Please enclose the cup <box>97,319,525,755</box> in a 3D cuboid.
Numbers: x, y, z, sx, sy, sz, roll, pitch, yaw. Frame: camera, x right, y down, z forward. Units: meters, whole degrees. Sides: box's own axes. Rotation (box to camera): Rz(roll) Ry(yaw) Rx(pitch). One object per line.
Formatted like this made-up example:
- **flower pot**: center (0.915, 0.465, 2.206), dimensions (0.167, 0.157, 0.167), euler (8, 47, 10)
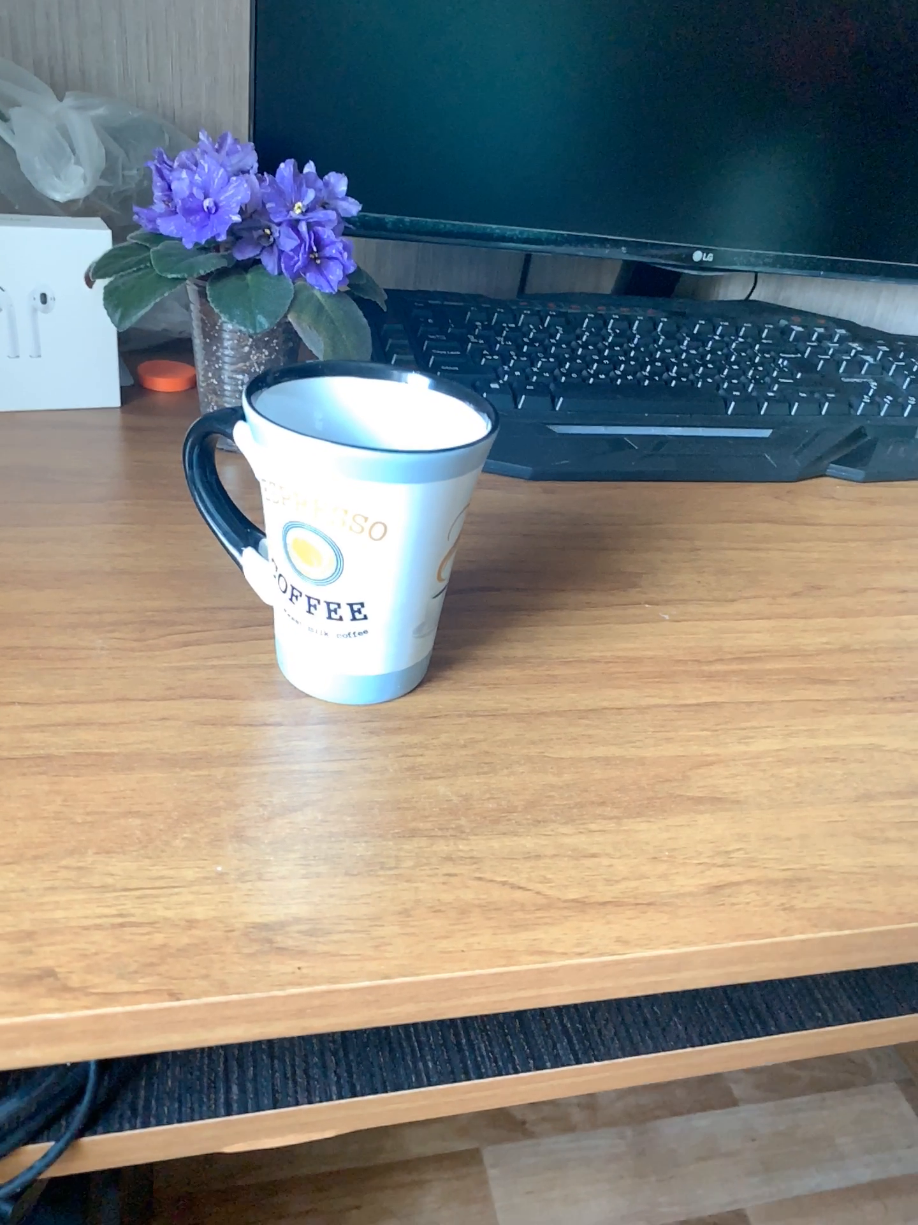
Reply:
- **cup**: center (-0.049, -0.031, 0.314), dimensions (0.110, 0.100, 0.070), euler (20, 32, 22)
